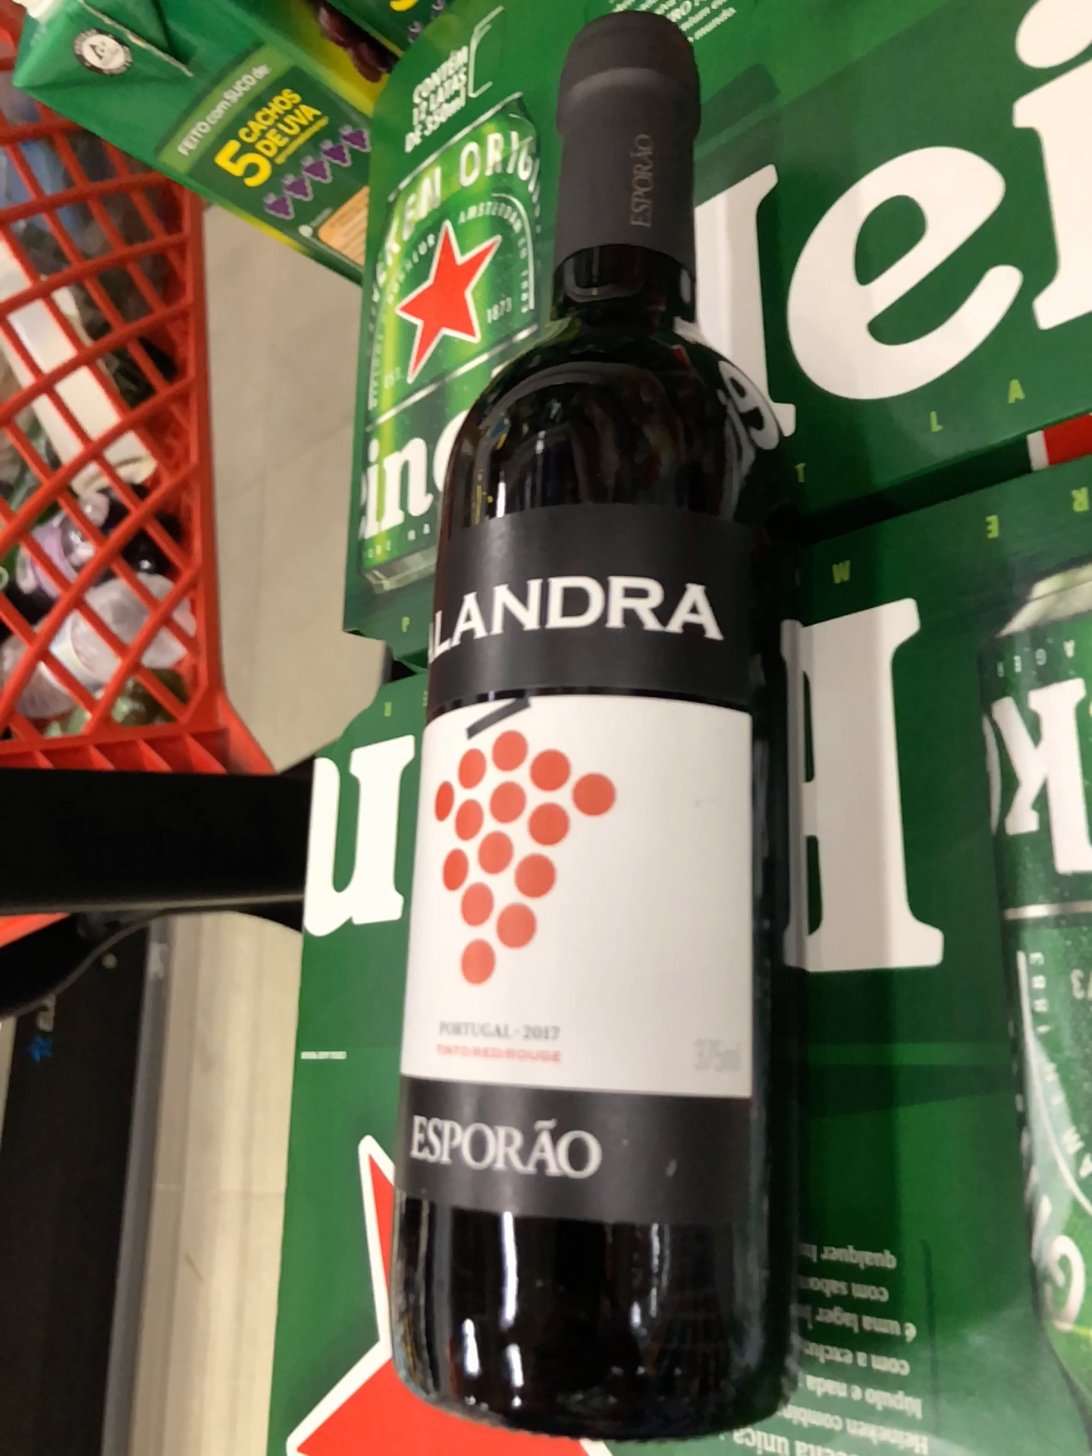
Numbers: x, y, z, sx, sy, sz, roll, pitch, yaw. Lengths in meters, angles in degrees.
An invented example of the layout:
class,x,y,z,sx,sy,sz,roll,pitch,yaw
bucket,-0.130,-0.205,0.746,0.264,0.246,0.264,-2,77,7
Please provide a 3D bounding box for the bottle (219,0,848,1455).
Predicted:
class,x,y,z,sx,sy,sz,roll,pitch,yaw
bottle,0.007,-0.023,0.191,0.060,0.060,0.240,-6,72,31
